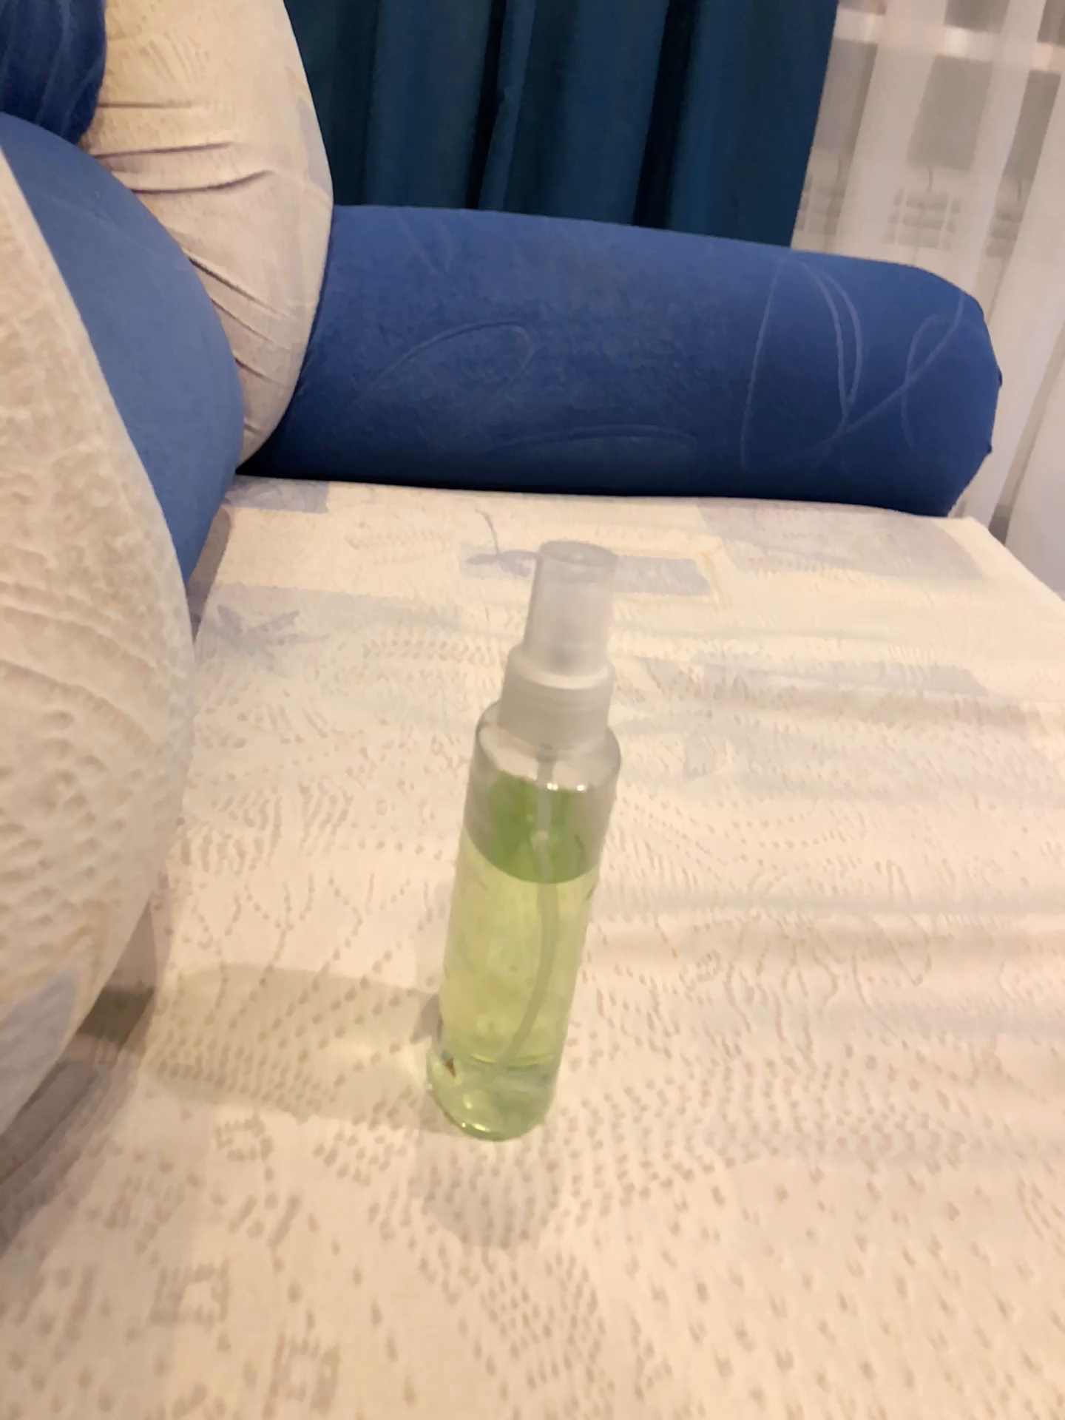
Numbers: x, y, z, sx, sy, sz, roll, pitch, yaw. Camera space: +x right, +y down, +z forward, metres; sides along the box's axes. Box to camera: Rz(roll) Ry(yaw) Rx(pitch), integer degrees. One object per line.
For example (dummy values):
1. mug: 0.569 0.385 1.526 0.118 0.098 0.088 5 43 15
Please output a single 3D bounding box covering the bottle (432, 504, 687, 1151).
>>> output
1. bottle: 0.001 0.032 0.289 0.037 0.149 0.058 4 26 -8
